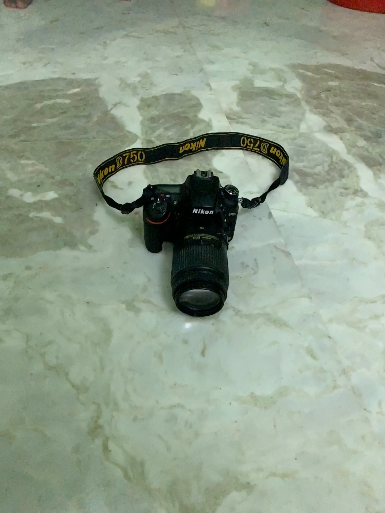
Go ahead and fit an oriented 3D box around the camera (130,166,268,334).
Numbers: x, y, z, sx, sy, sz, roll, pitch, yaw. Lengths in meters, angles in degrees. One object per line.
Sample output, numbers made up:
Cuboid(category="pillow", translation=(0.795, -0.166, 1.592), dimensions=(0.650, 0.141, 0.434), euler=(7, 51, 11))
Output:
Cuboid(category="camera", translation=(0.007, -0.014, 0.541), dimensions=(0.150, 0.120, 0.201), euler=(3, 45, -1))
